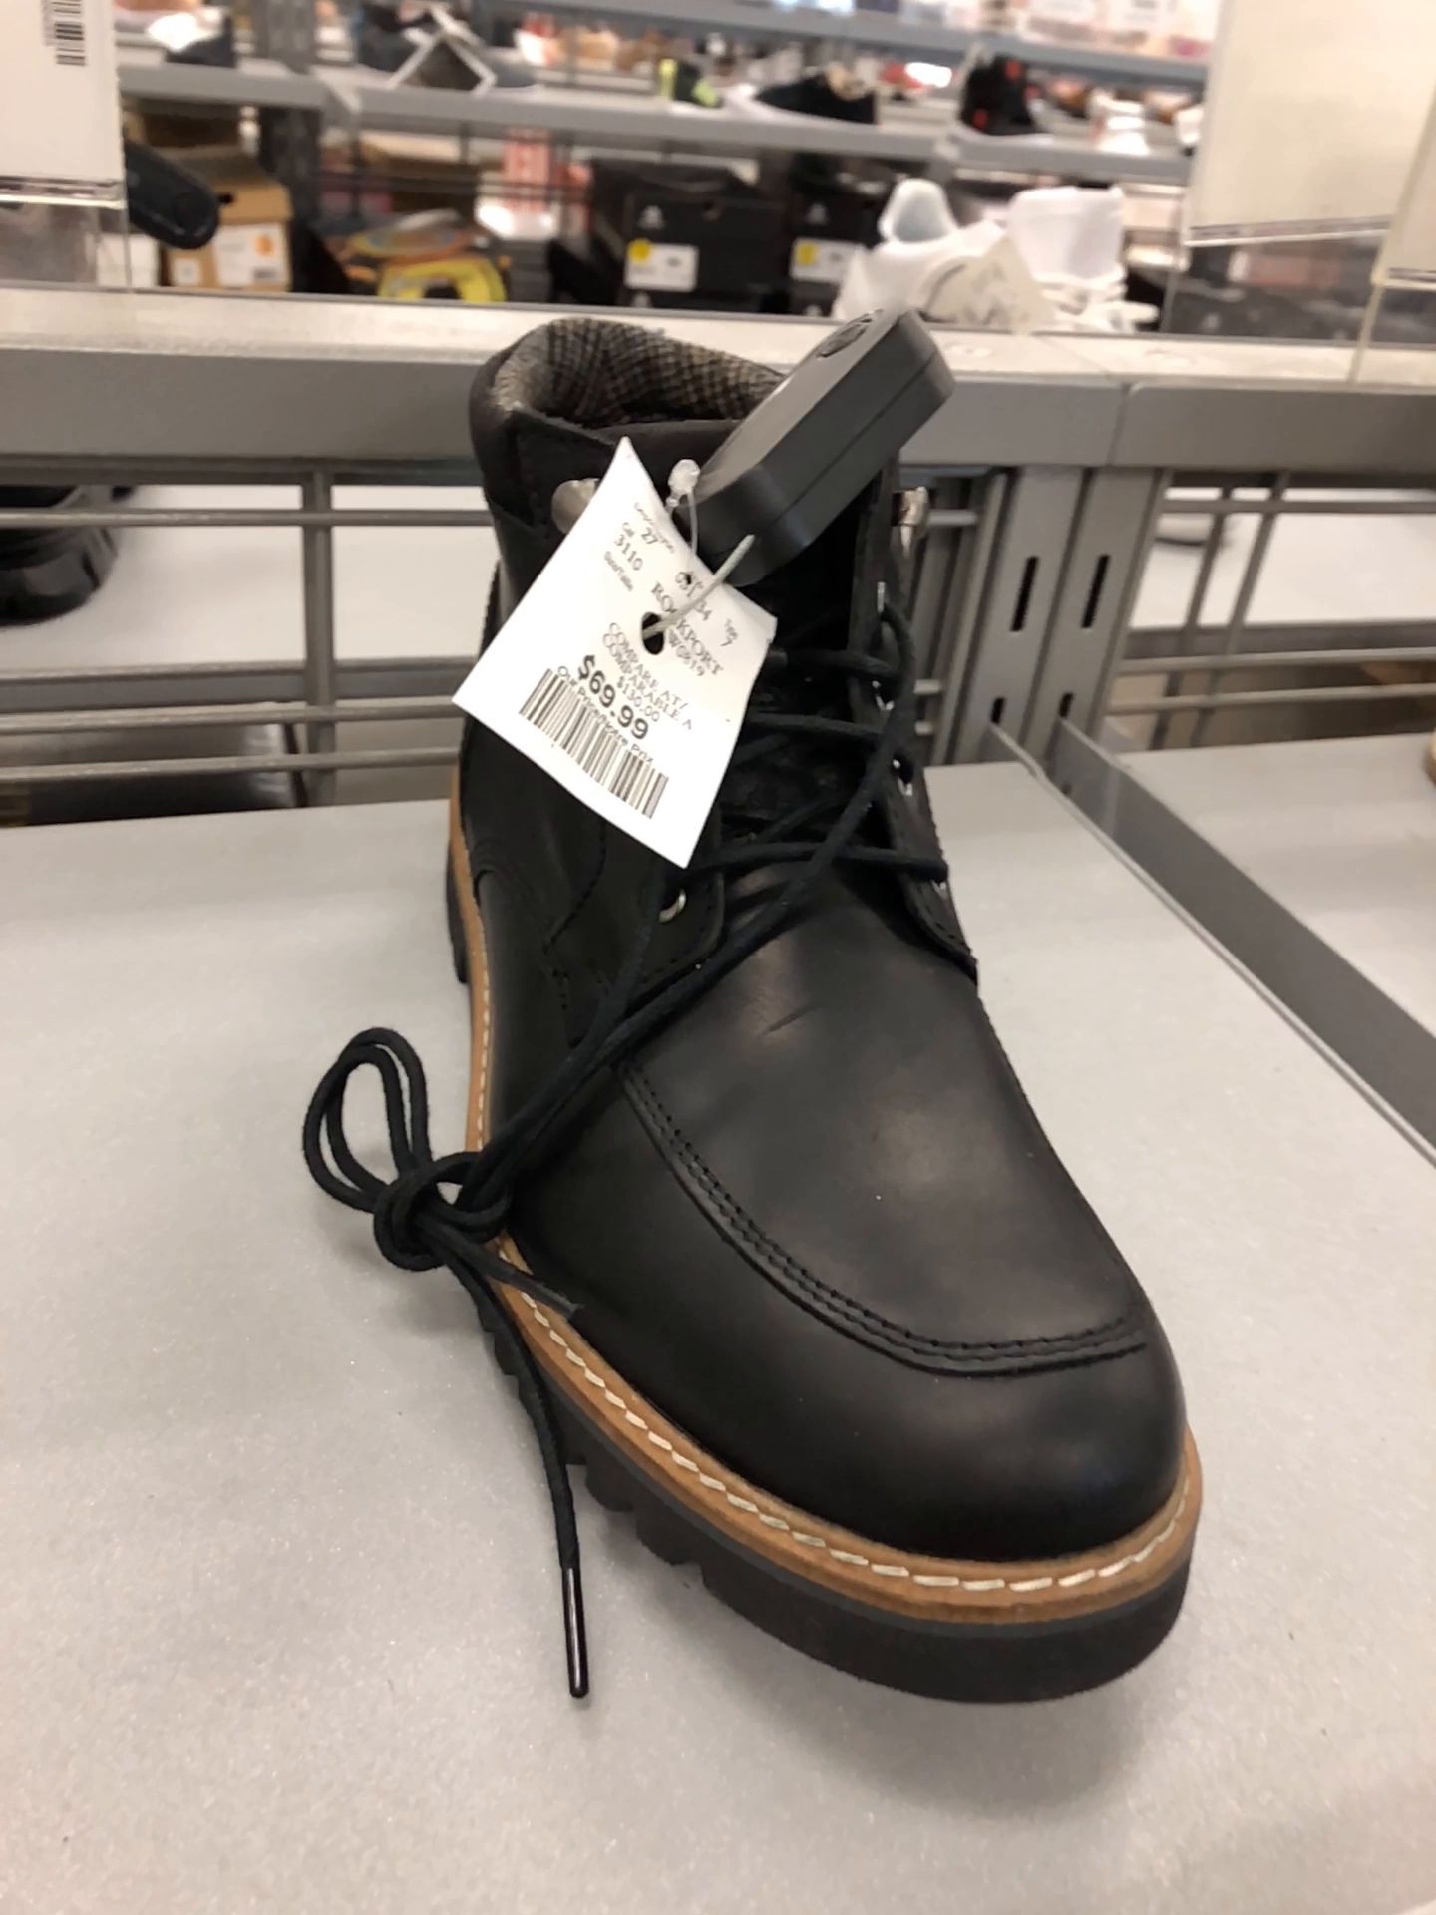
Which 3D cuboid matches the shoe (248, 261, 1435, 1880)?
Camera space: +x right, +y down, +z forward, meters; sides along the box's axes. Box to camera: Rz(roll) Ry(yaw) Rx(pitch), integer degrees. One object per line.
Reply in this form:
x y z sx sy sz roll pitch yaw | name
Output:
-0.005 -0.018 0.305 0.120 0.139 0.282 -7 39 -22 | shoe
